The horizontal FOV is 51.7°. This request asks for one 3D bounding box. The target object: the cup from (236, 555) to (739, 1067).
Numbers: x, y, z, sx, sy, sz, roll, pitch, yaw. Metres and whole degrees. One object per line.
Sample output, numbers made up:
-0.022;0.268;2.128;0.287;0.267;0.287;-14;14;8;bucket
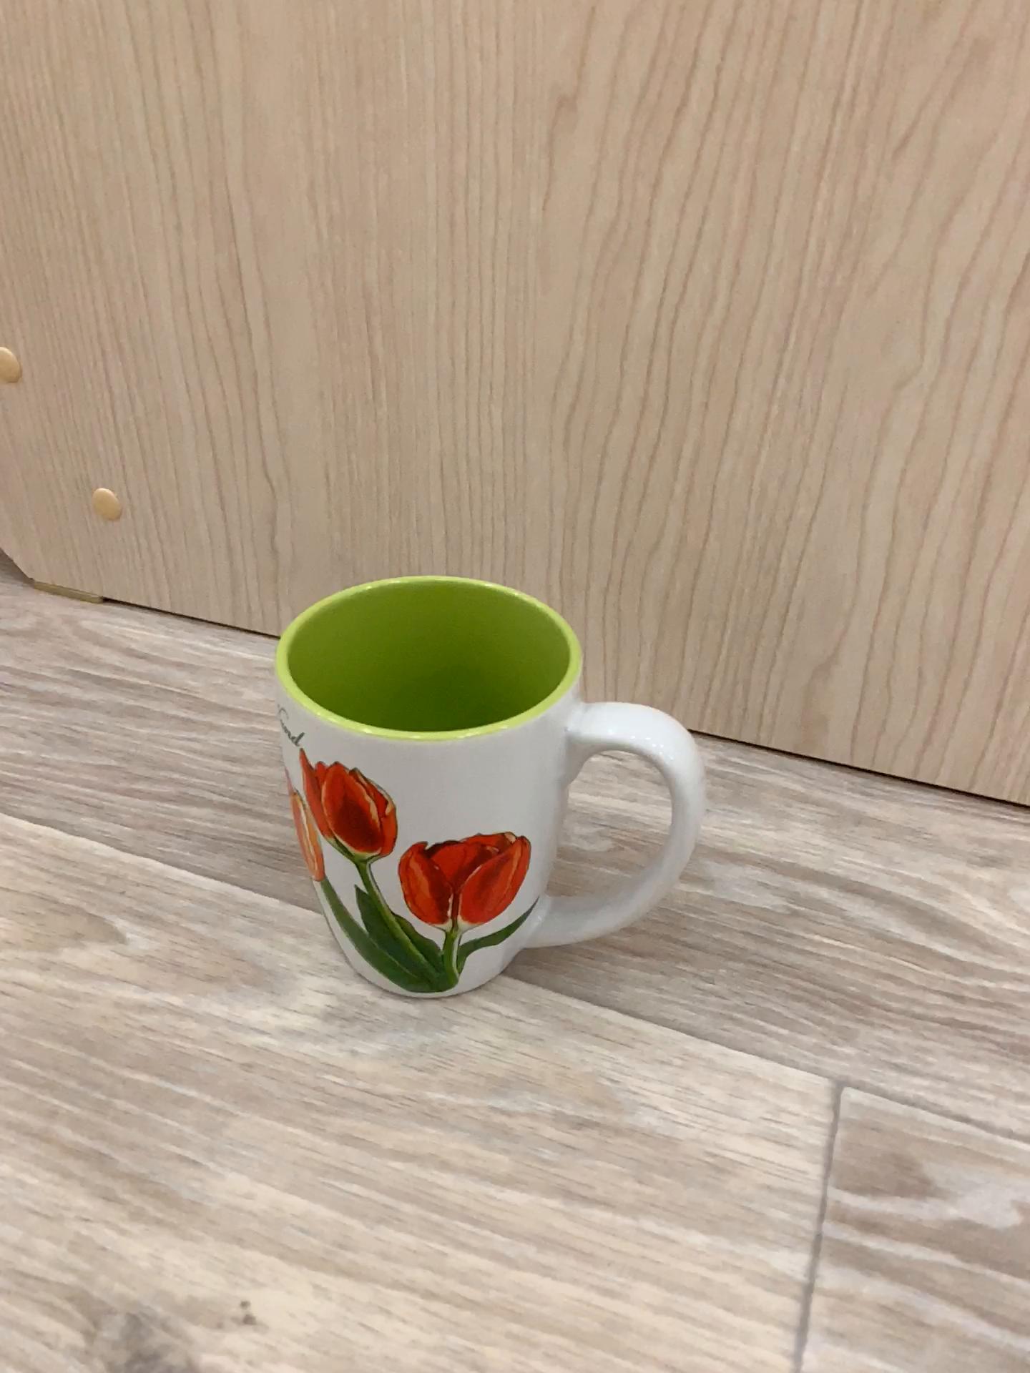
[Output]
-0.003;0.033;0.313;0.118;0.101;0.084;9;34;10;cup
